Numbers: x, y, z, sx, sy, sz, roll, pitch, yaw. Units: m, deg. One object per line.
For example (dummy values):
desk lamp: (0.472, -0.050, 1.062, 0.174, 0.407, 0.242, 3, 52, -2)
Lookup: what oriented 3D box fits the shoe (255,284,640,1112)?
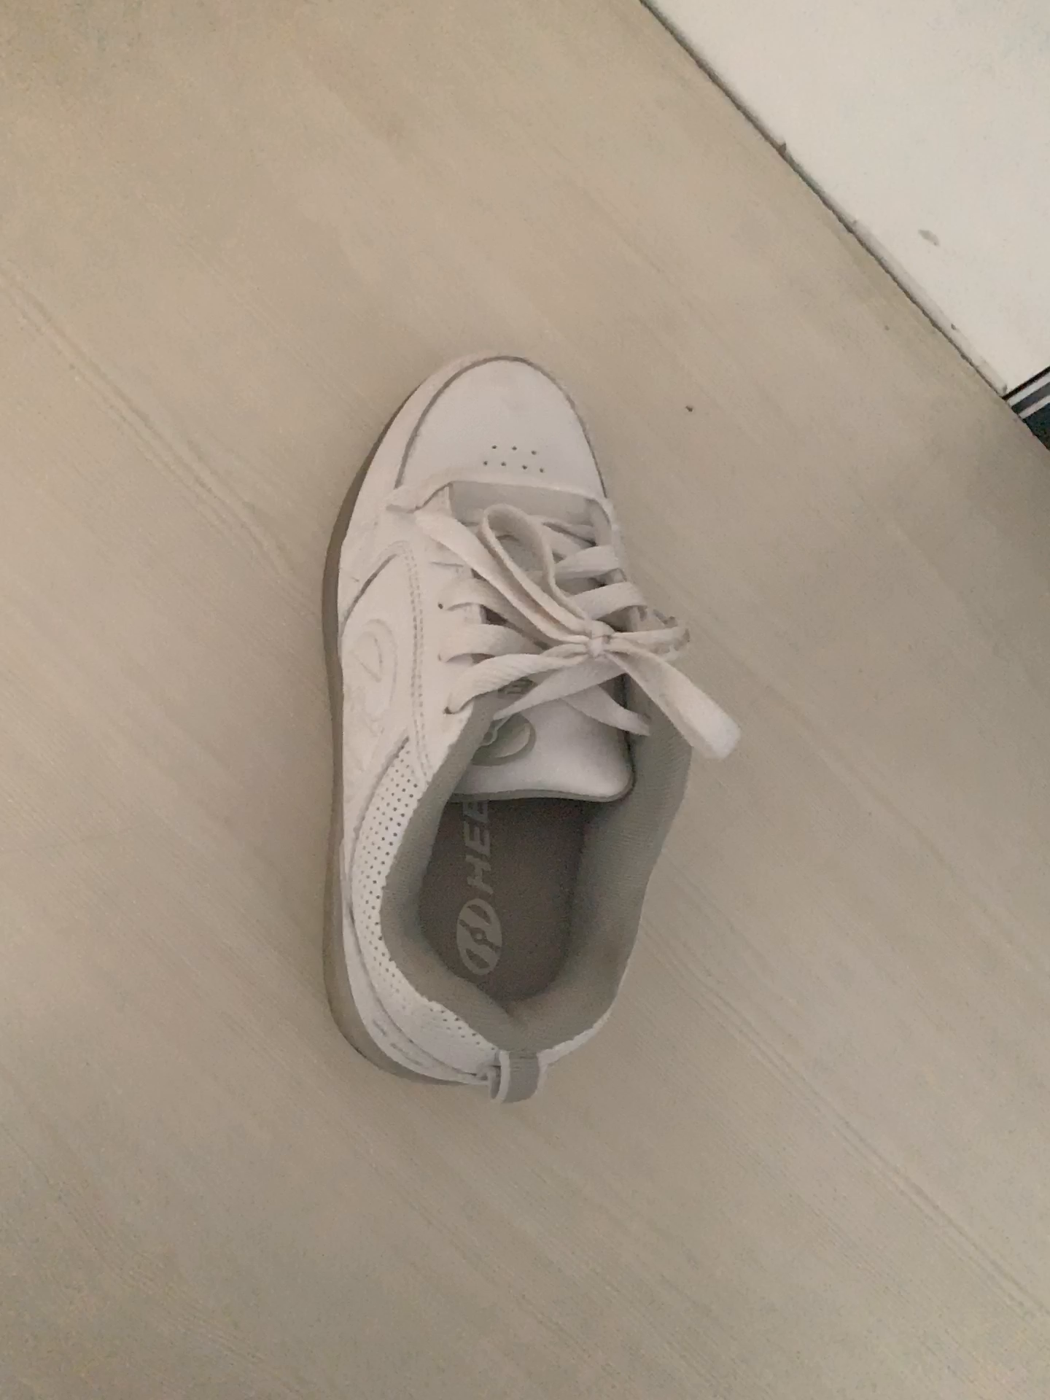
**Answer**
shoe: (-0.024, 0.004, 0.340, 0.090, 0.090, 0.230, 7, 71, -16)
